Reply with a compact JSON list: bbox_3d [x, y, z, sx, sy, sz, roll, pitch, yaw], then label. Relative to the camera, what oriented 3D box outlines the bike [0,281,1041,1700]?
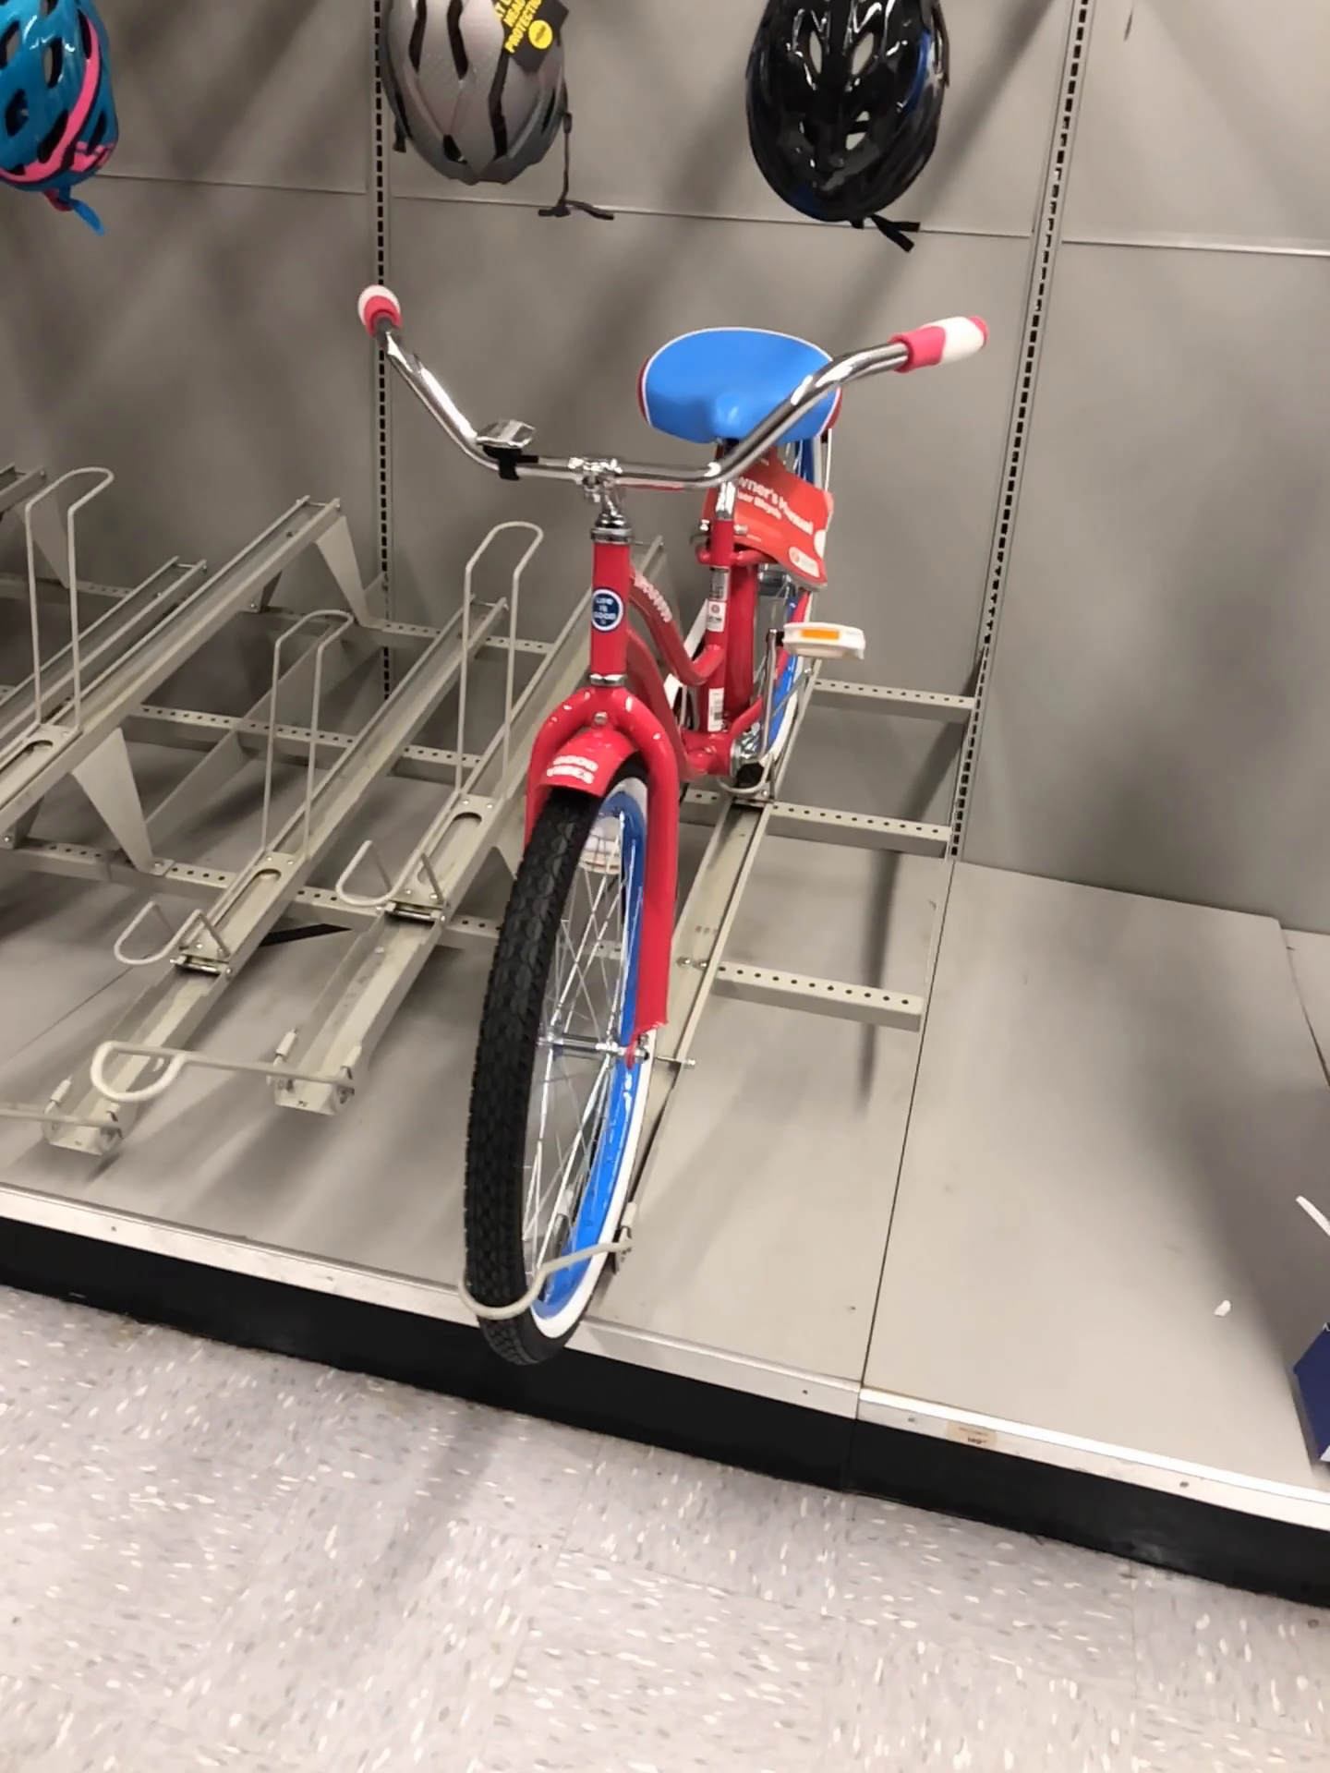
[{"bbox_3d":[-0.028,-0.120,1.905,0.810,0.676,1.614,9,39,11],"label":"bike"}]
